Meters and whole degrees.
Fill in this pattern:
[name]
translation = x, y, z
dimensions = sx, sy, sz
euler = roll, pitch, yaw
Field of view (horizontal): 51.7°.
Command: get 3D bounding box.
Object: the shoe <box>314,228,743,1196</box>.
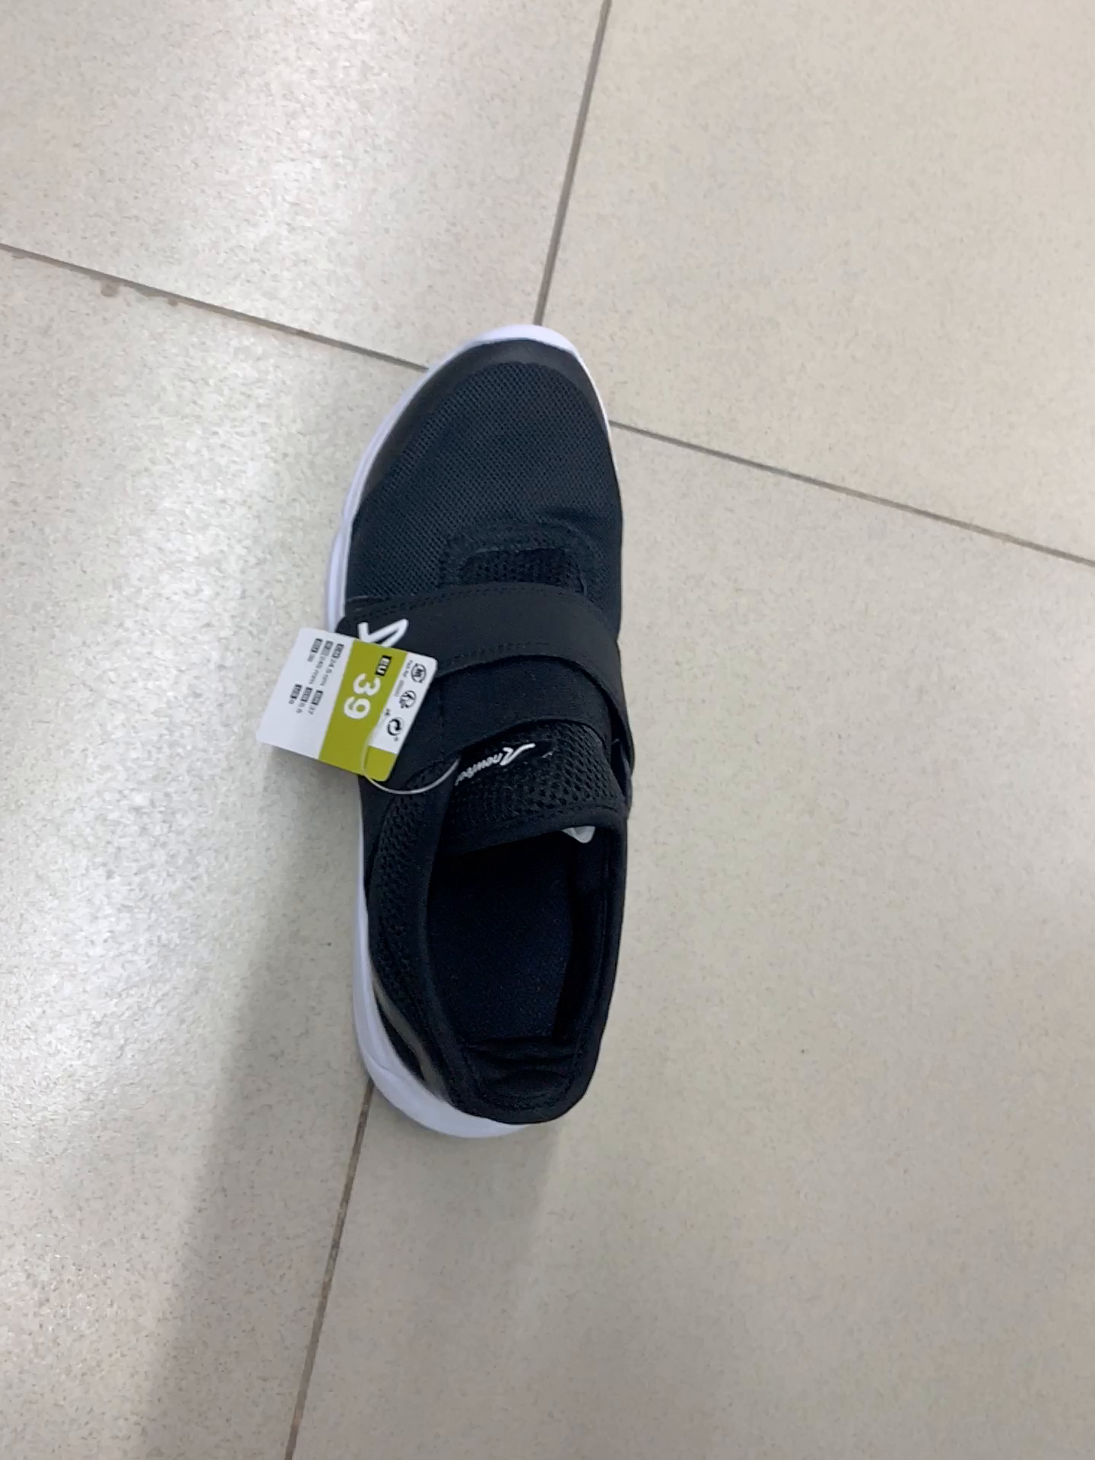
[shoe]
translation = -0.010, -0.003, 0.350
dimensions = 0.110, 0.100, 0.250
euler = 2, 84, -12
